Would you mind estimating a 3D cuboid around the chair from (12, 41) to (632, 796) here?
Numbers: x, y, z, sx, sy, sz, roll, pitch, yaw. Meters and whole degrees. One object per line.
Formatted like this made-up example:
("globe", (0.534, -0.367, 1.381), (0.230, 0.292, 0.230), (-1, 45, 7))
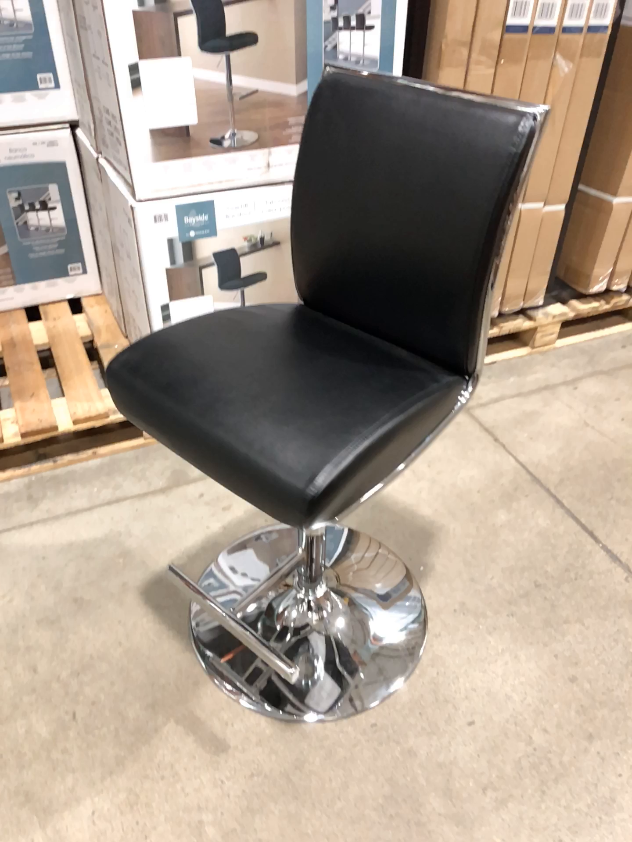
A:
("chair", (0.011, -0.012, 1.117), (0.531, 0.946, 0.541), (27, 43, 28))
